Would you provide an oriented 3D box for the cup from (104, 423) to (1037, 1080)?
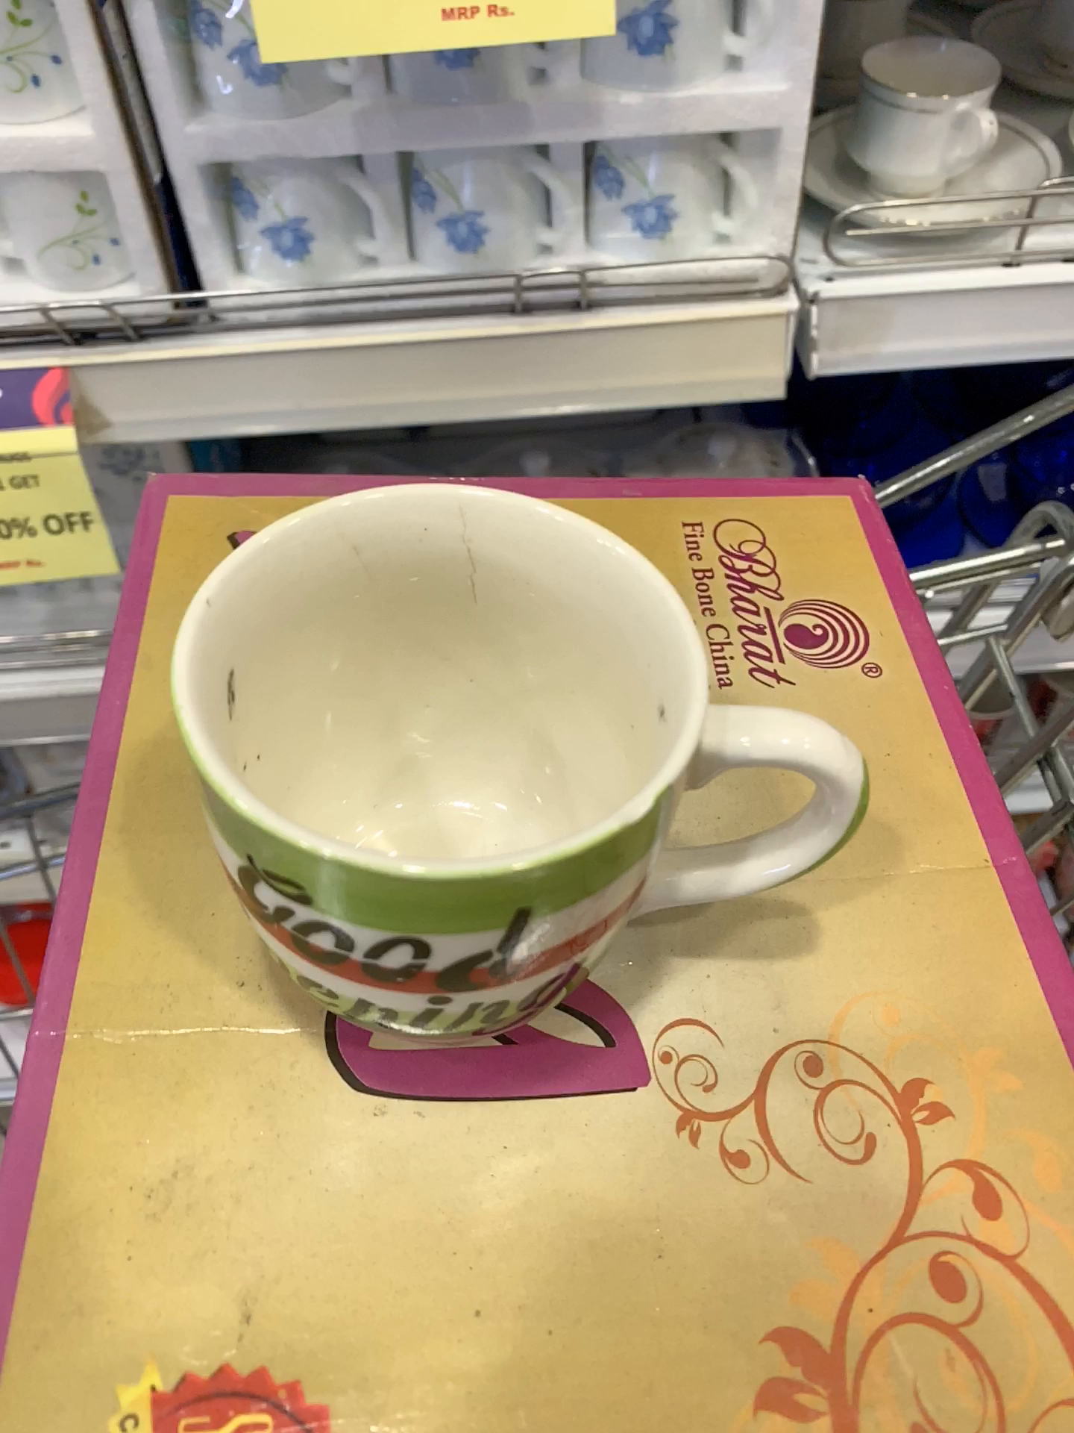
[{"bbox_3d":[0.004,0.004,0.180,0.110,0.060,0.080,4,47,0],"label":"cup"}]
